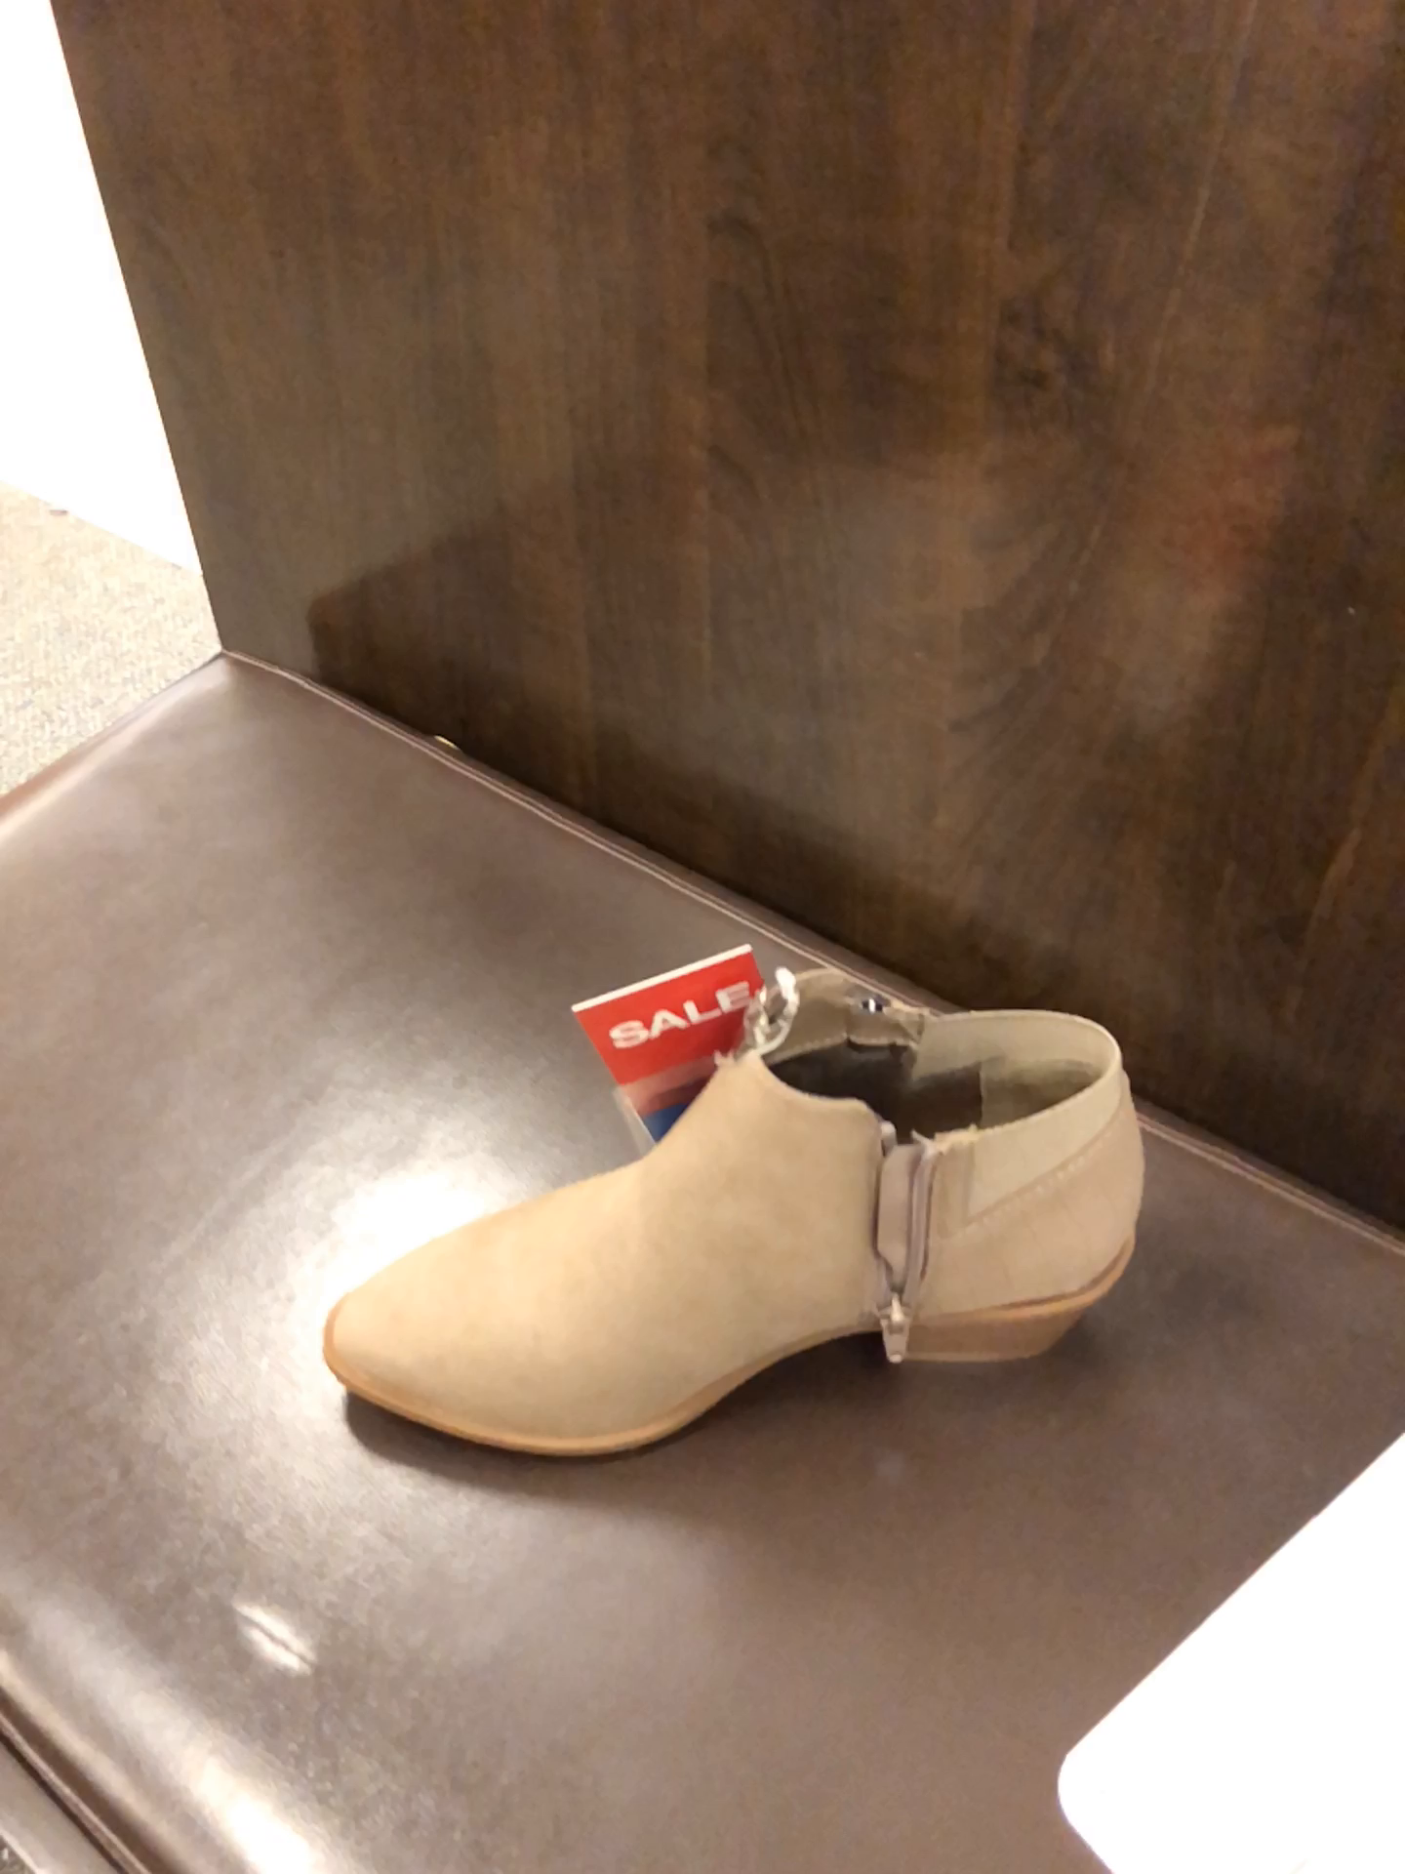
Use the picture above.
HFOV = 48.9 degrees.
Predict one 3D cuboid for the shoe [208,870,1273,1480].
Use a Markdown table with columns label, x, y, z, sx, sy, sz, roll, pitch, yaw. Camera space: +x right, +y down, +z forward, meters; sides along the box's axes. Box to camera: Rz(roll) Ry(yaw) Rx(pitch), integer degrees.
| label | x | y | z | sx | sy | sz | roll | pitch | yaw |
| --- | --- | --- | --- | --- | --- | --- | --- | --- | --- |
| shoe | 0.009 | 0.071 | 0.456 | 0.260 | 0.133 | 0.097 | -4 | 44 | -3 |
